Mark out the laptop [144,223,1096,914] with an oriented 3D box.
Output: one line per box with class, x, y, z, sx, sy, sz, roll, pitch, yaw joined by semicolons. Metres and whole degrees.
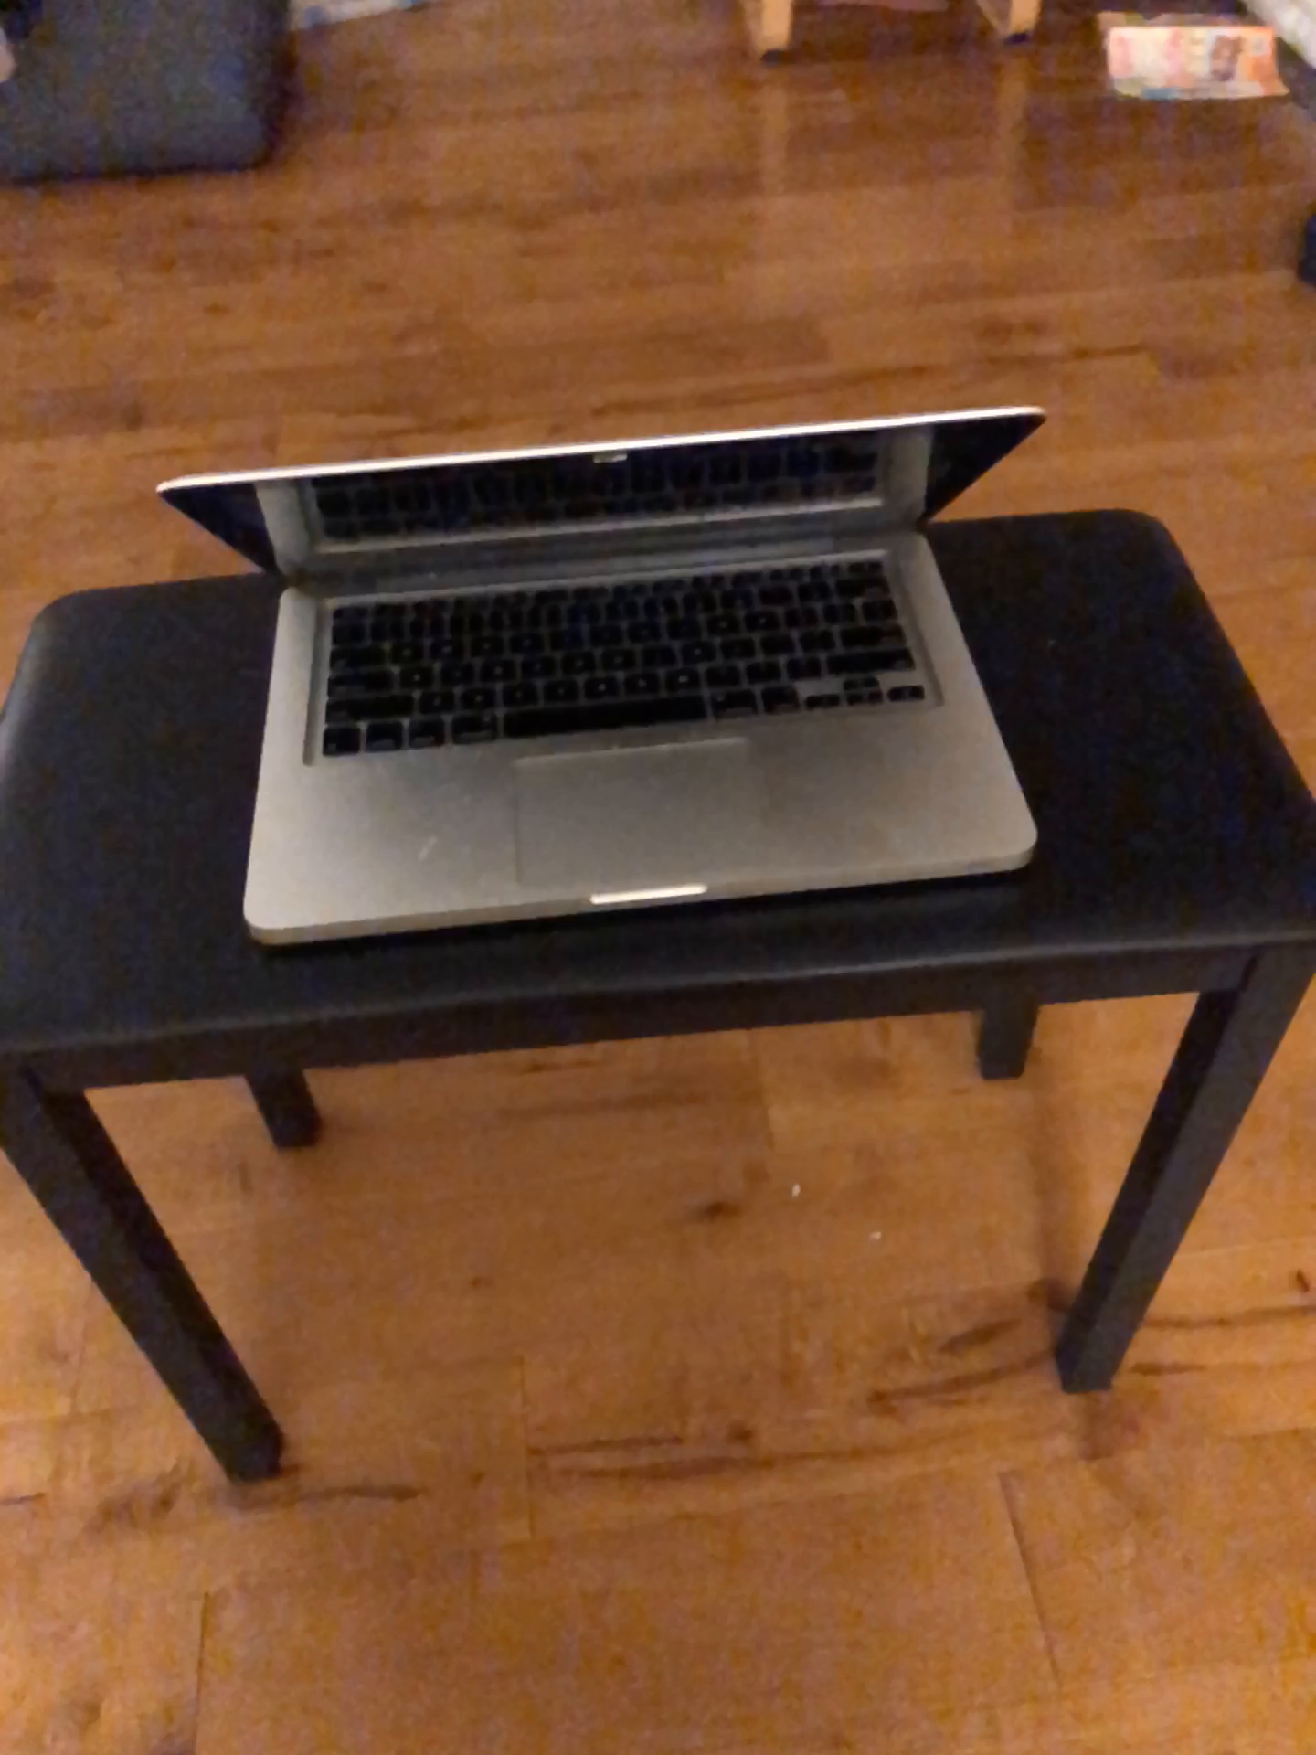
laptop;-0.022;-0.128;0.589;0.309;0.144;0.210;-6;48;1
